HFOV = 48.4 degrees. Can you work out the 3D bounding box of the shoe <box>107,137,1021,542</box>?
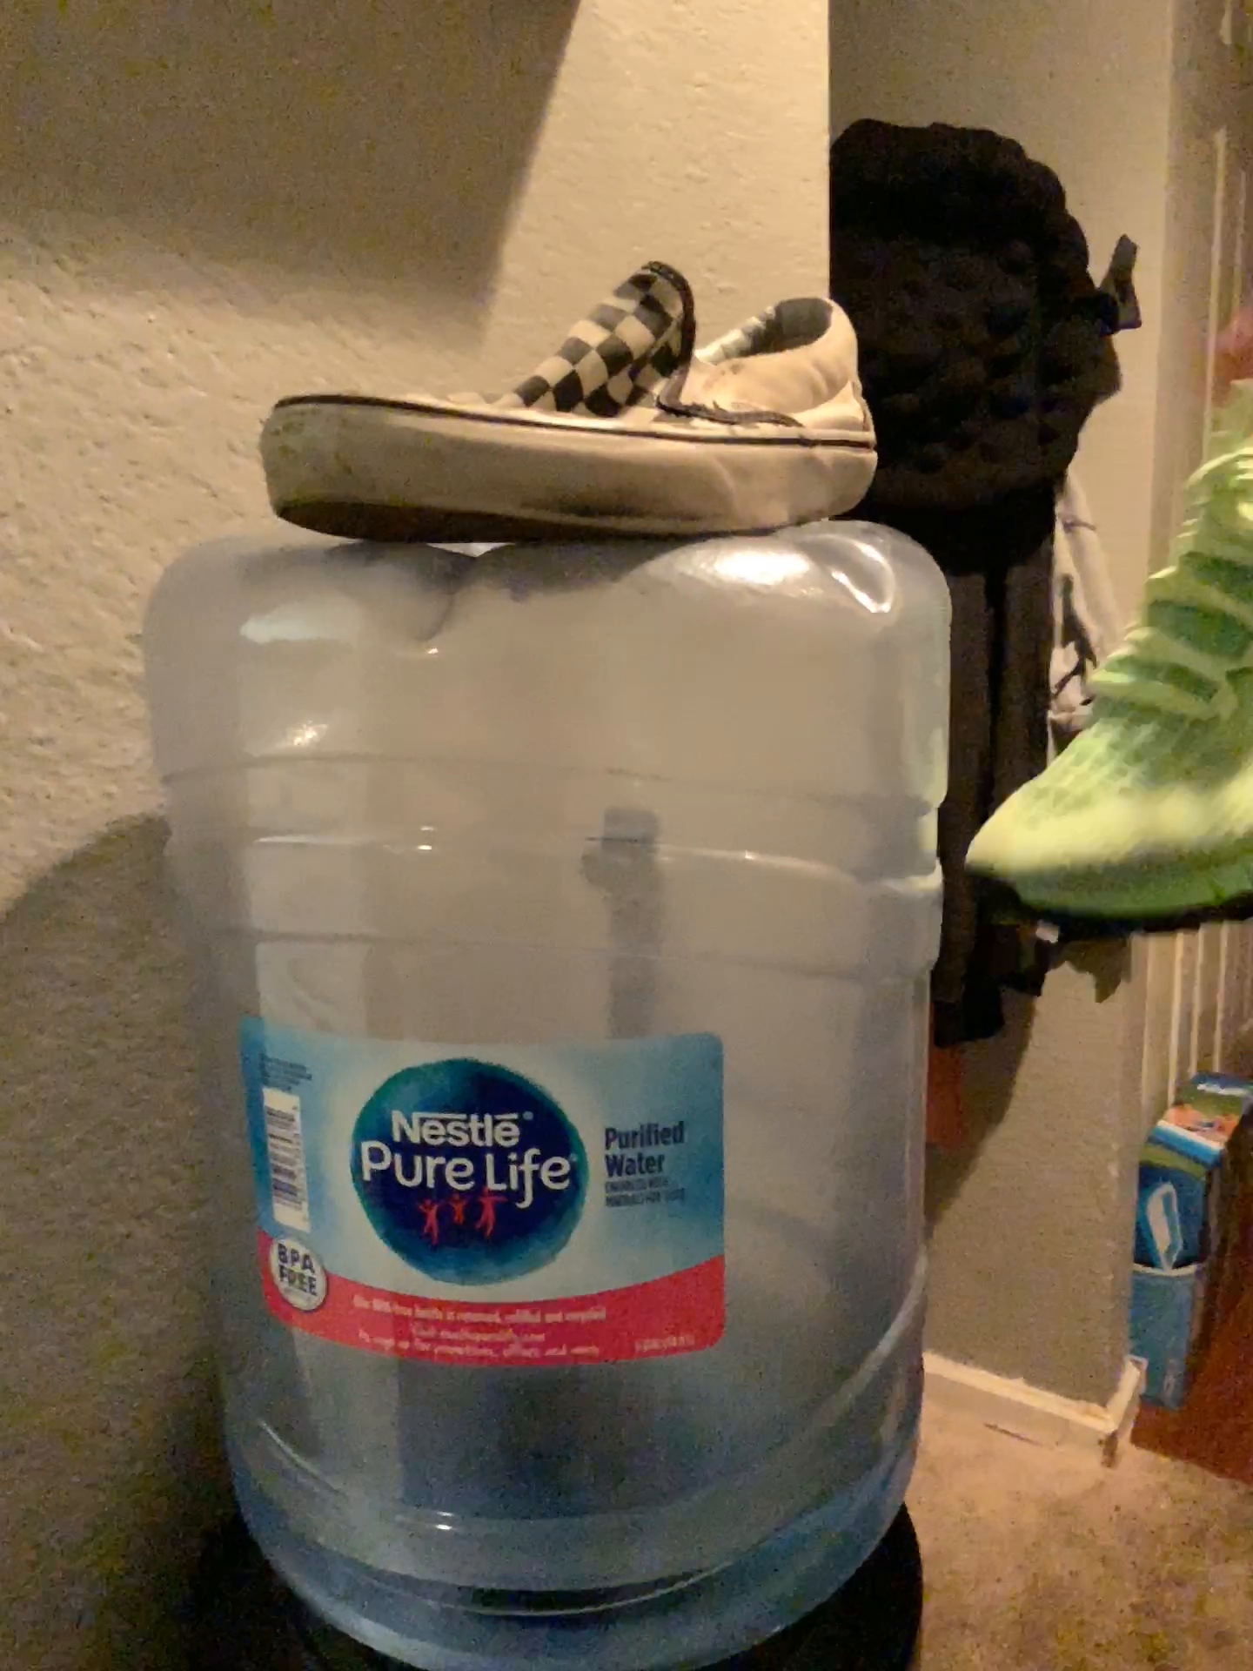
[{"bbox_3d":[0.004,-0.141,0.438,0.130,0.080,0.280,9,18,37],"label":"shoe"}]
